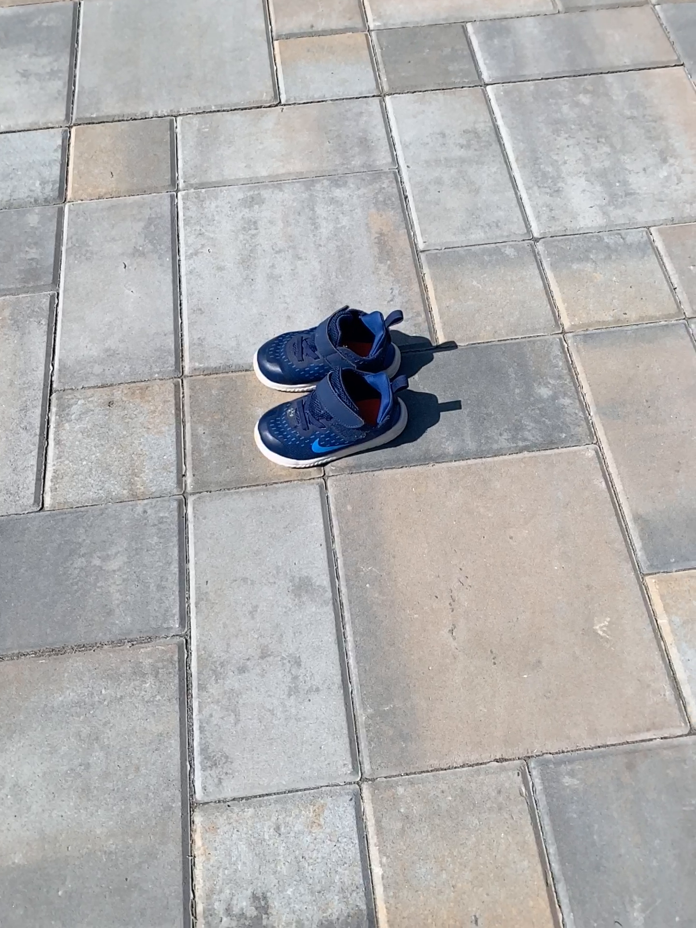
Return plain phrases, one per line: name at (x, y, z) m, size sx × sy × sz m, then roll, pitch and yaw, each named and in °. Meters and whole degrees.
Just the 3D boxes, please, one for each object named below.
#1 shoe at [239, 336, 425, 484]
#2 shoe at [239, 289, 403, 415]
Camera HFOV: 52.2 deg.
shoe at (-0.017, -0.056, 0.747) m, size 0.170 × 0.090 × 0.090 m, roll -12°, pitch 63°, yaw -5°
shoe at (-0.031, -0.126, 0.810) m, size 0.170 × 0.090 × 0.090 m, roll -6°, pitch 63°, yaw -2°
